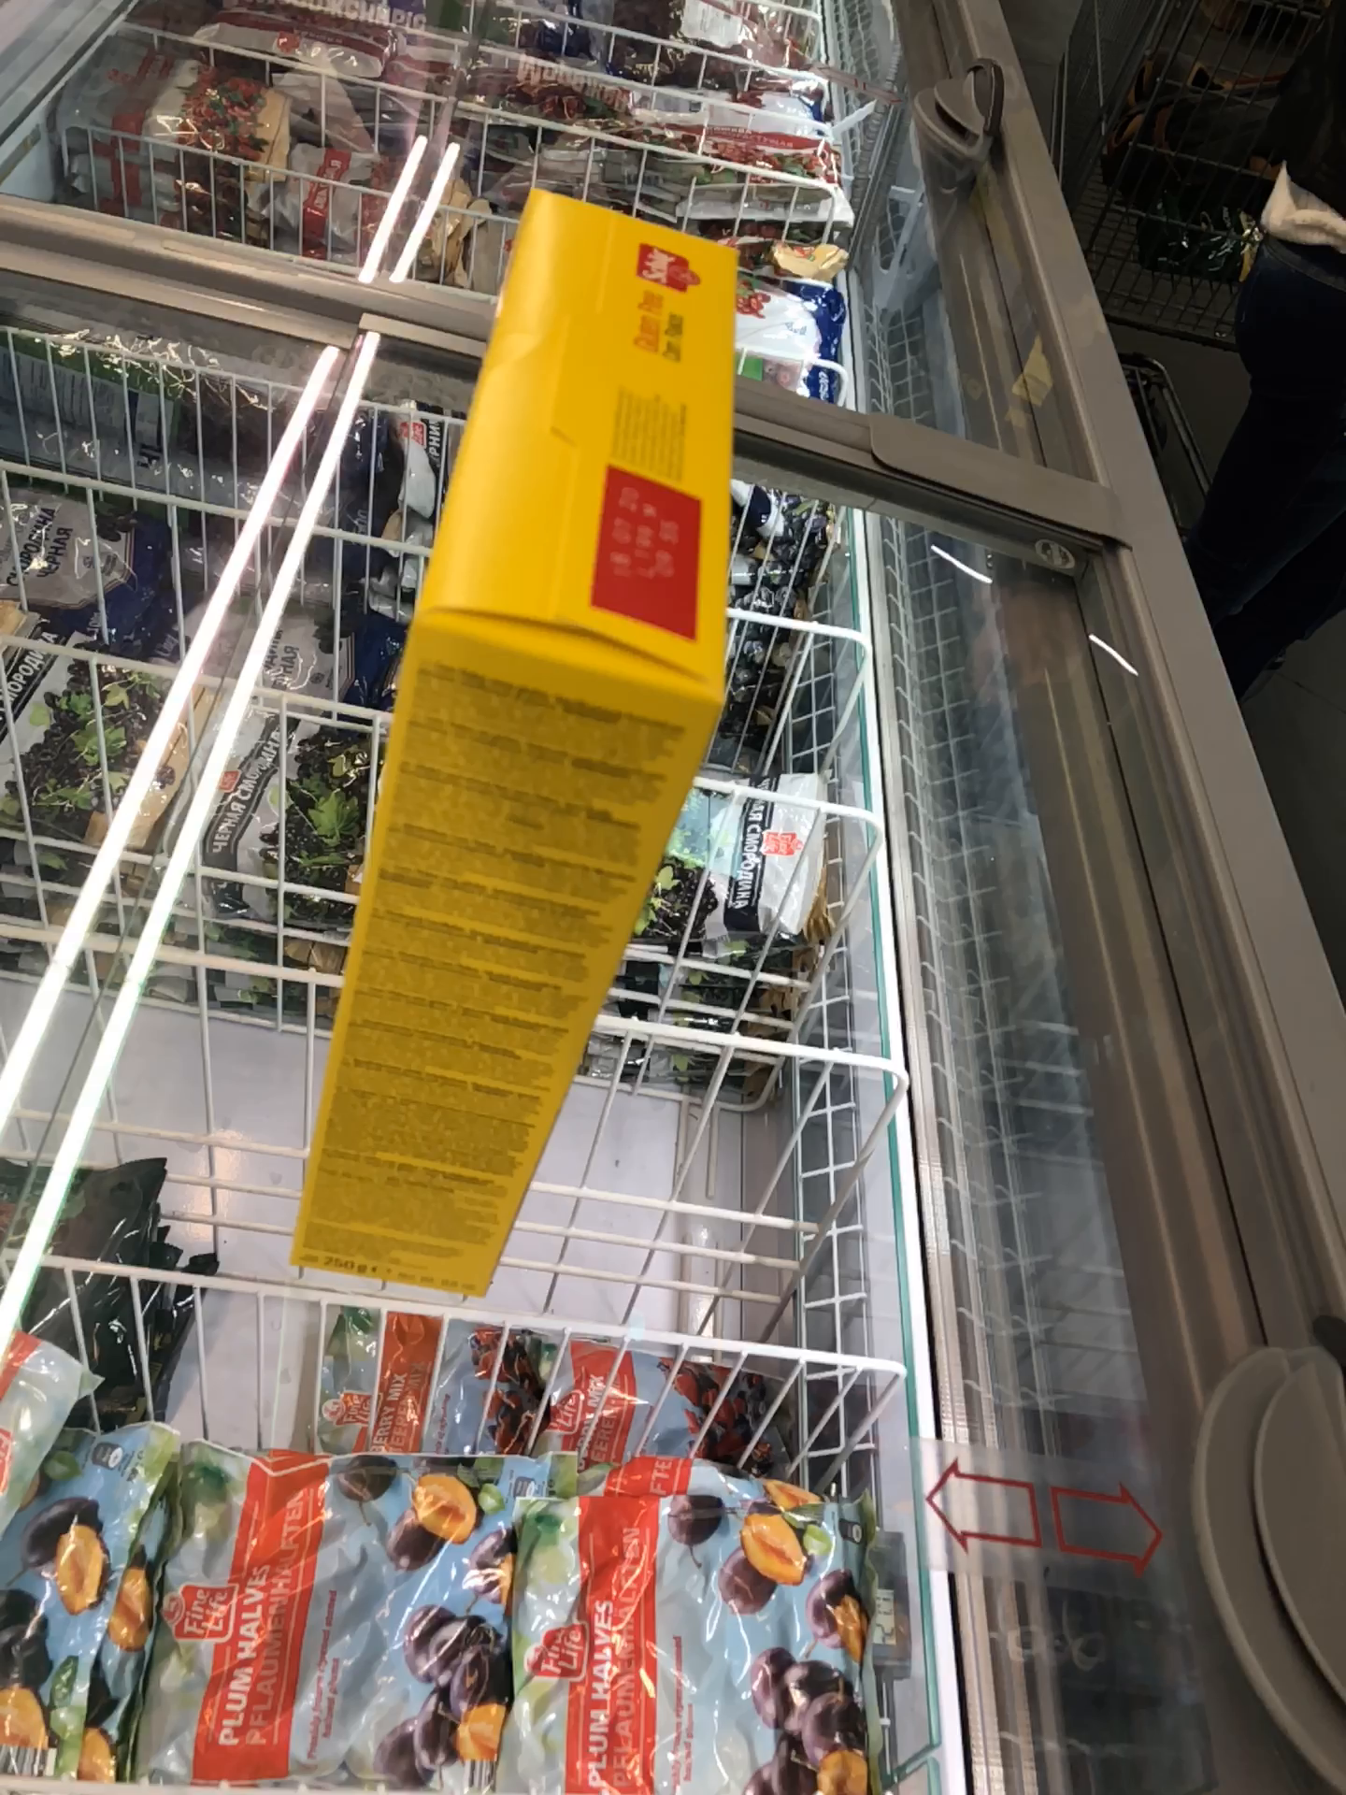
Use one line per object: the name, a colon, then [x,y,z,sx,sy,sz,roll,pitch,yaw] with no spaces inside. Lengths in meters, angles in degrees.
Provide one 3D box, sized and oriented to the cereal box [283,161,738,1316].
cereal box: [-0.047,-0.035,0.407,0.060,0.238,0.201,12,46,-9]
